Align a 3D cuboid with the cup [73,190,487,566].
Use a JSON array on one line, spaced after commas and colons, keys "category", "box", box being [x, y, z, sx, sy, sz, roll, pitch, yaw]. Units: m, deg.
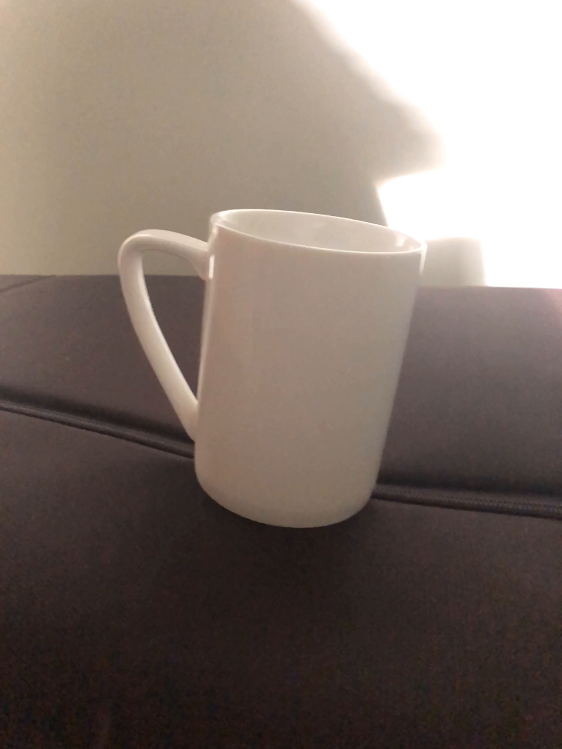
[{"category": "cup", "box": [0.000, -0.013, 0.231, 0.108, 0.090, 0.097, 18, 22, 25]}]
